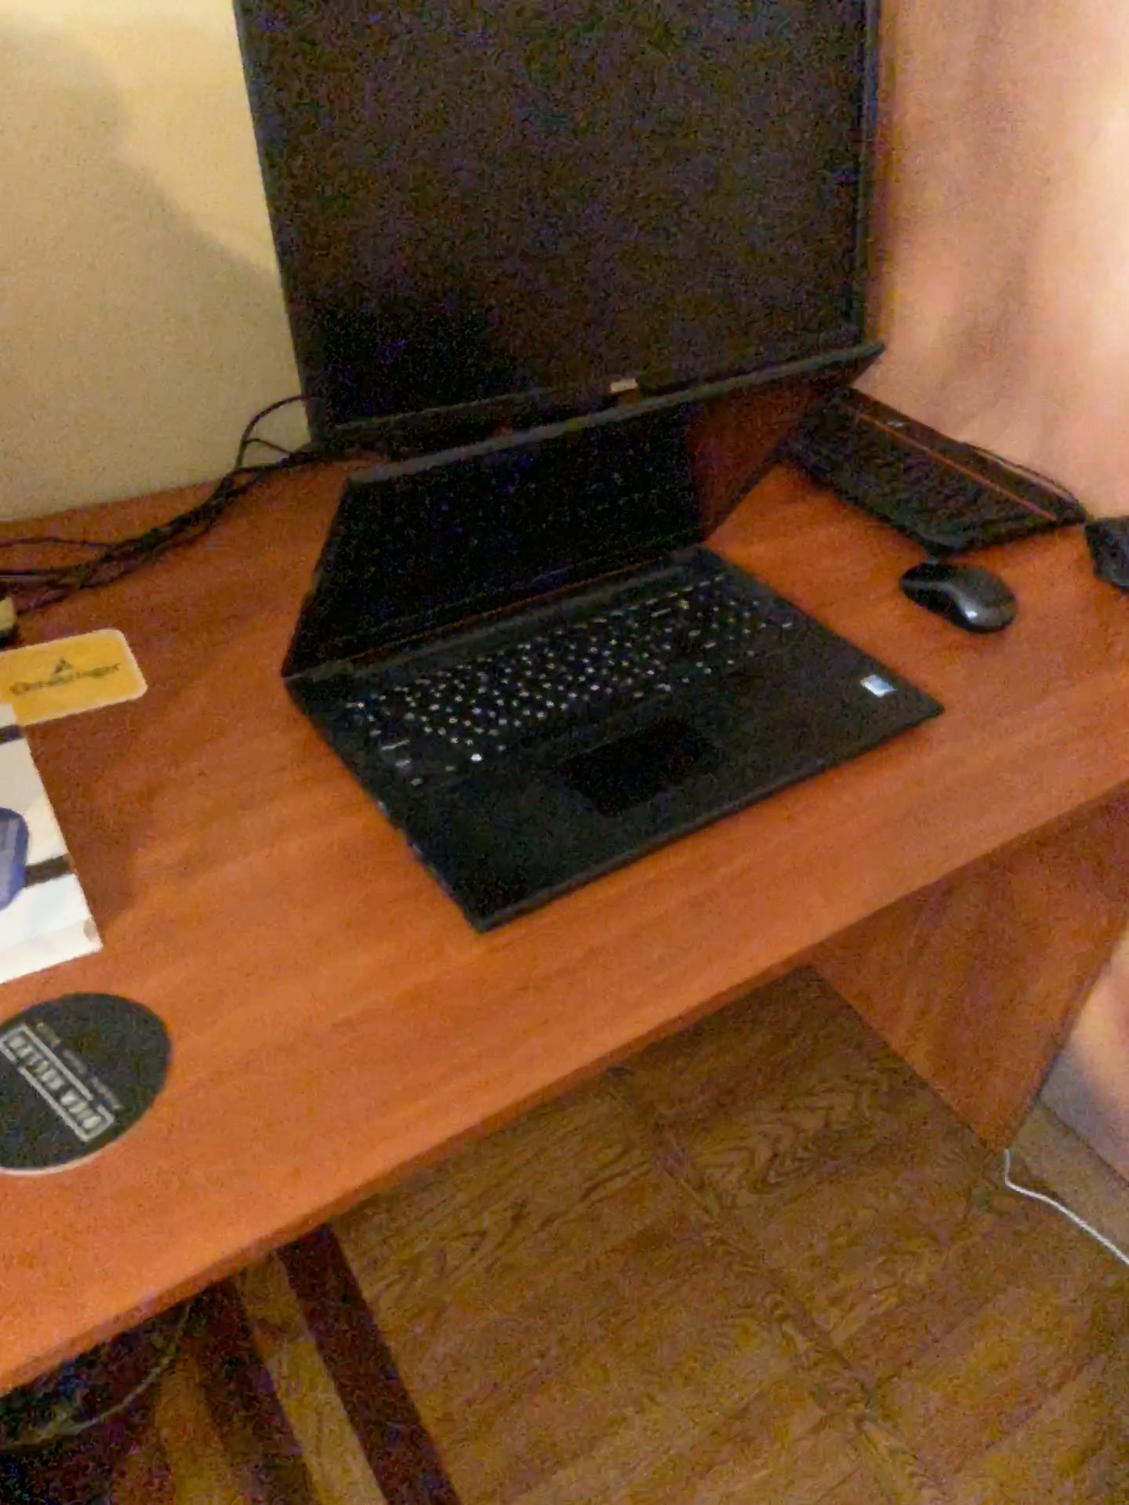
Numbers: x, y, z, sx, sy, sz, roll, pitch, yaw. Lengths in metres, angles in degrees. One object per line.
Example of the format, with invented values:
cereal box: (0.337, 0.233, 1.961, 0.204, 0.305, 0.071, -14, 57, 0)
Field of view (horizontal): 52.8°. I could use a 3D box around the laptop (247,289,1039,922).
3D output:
laptop: (0.042, -0.120, 0.716, 0.373, 0.212, 0.254, -22, 46, -28)
